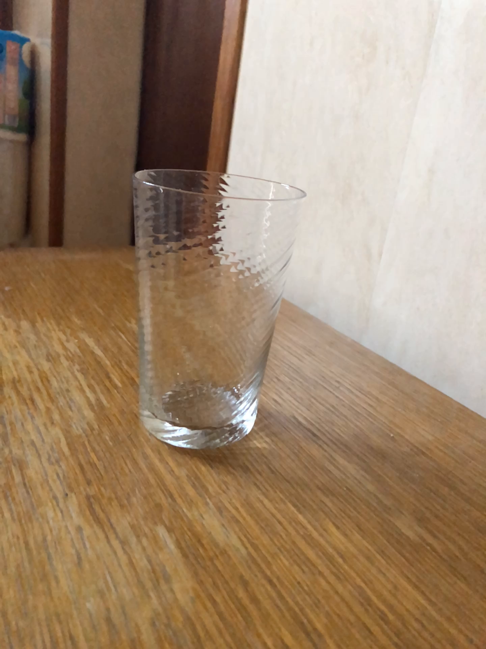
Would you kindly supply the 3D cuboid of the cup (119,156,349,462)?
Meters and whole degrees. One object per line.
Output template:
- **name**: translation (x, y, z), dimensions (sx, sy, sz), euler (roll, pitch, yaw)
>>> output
- **cup**: translation (-0.012, -0.008, 0.252), dimensions (0.080, 0.119, 0.070), euler (4, 21, -12)
